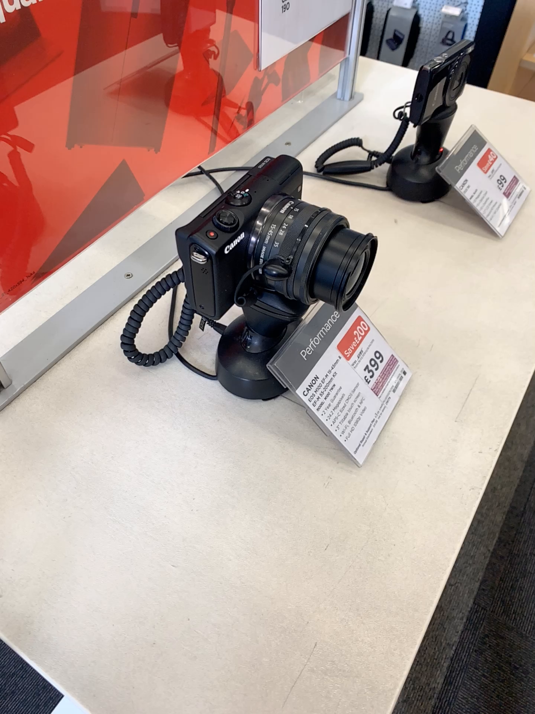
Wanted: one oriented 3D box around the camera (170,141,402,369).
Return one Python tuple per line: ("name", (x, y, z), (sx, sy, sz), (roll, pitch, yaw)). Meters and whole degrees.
("camera", (0.015, -0.074, 0.371), (0.100, 0.069, 0.121), (24, 53, 18))
